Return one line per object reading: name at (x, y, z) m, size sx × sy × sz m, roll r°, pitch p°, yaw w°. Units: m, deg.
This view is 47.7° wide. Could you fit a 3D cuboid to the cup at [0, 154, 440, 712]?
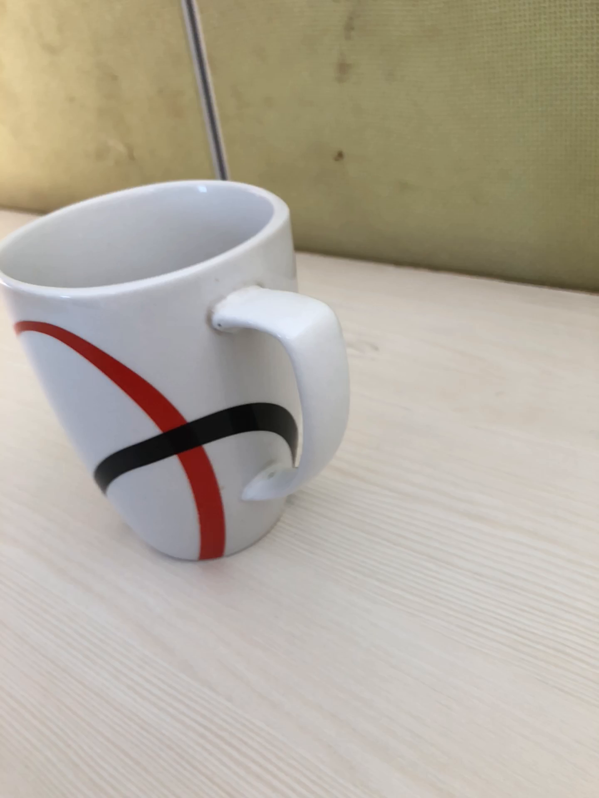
cup at (-0.043, -0.008, 0.208) m, size 0.090 × 0.099 × 0.140 m, roll -32°, pitch 38°, yaw -33°
